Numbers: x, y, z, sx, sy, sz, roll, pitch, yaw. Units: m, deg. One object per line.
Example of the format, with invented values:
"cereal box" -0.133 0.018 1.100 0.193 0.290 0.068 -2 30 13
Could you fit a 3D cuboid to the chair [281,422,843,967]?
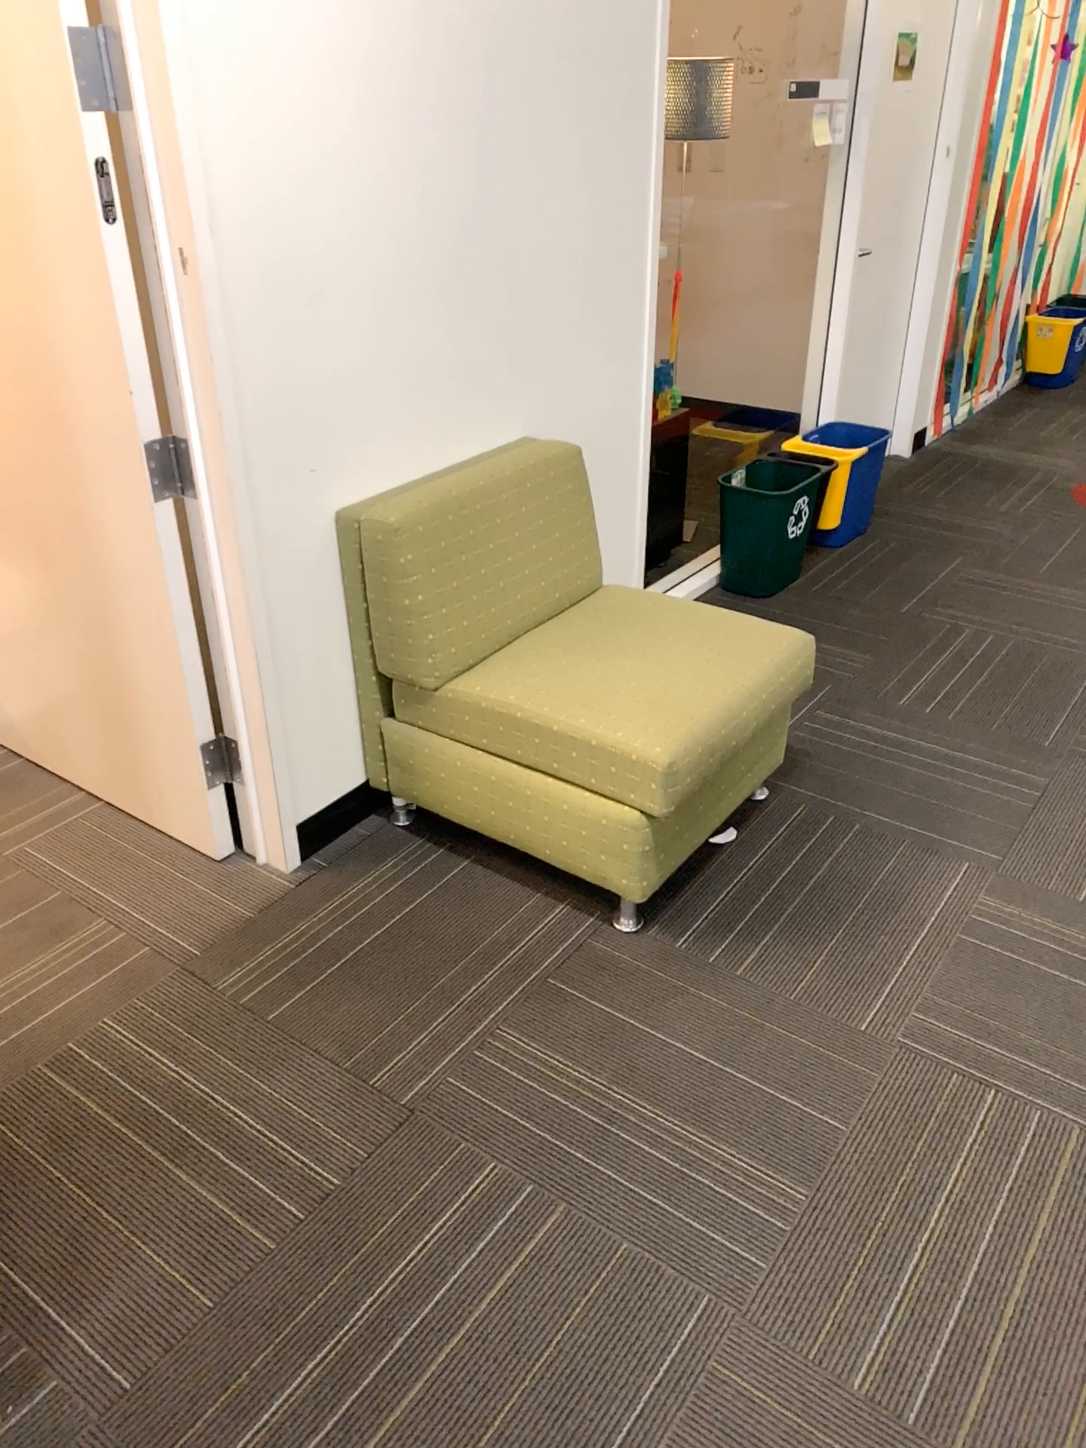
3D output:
"chair" 0.051 -0.130 2.251 0.782 0.686 0.732 20 36 31
